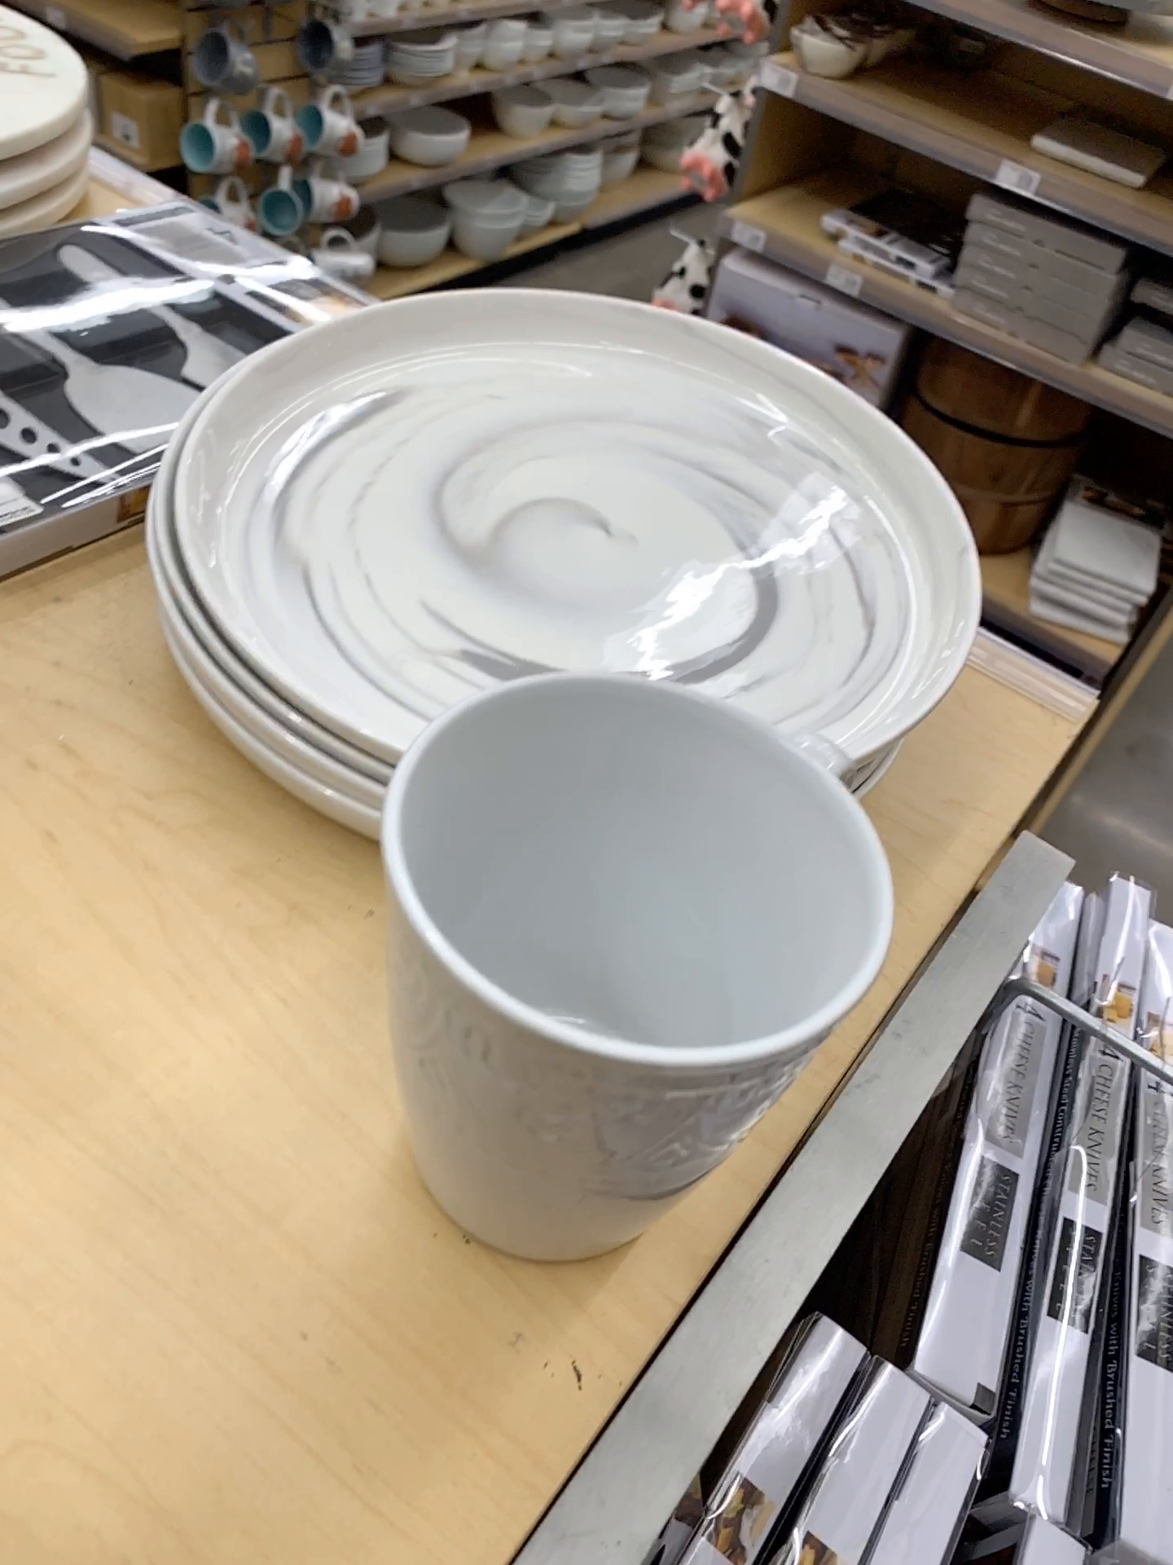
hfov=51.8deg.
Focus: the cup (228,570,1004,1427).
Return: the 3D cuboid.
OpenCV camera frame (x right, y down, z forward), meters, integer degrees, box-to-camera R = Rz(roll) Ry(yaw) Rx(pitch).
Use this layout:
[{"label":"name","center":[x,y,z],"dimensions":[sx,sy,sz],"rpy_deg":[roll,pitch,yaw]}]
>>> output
[{"label":"cup","center":[0.003,0.043,0.273],"dimensions":[0.099,0.107,0.125],"rpy_deg":[37,49,19]}]
